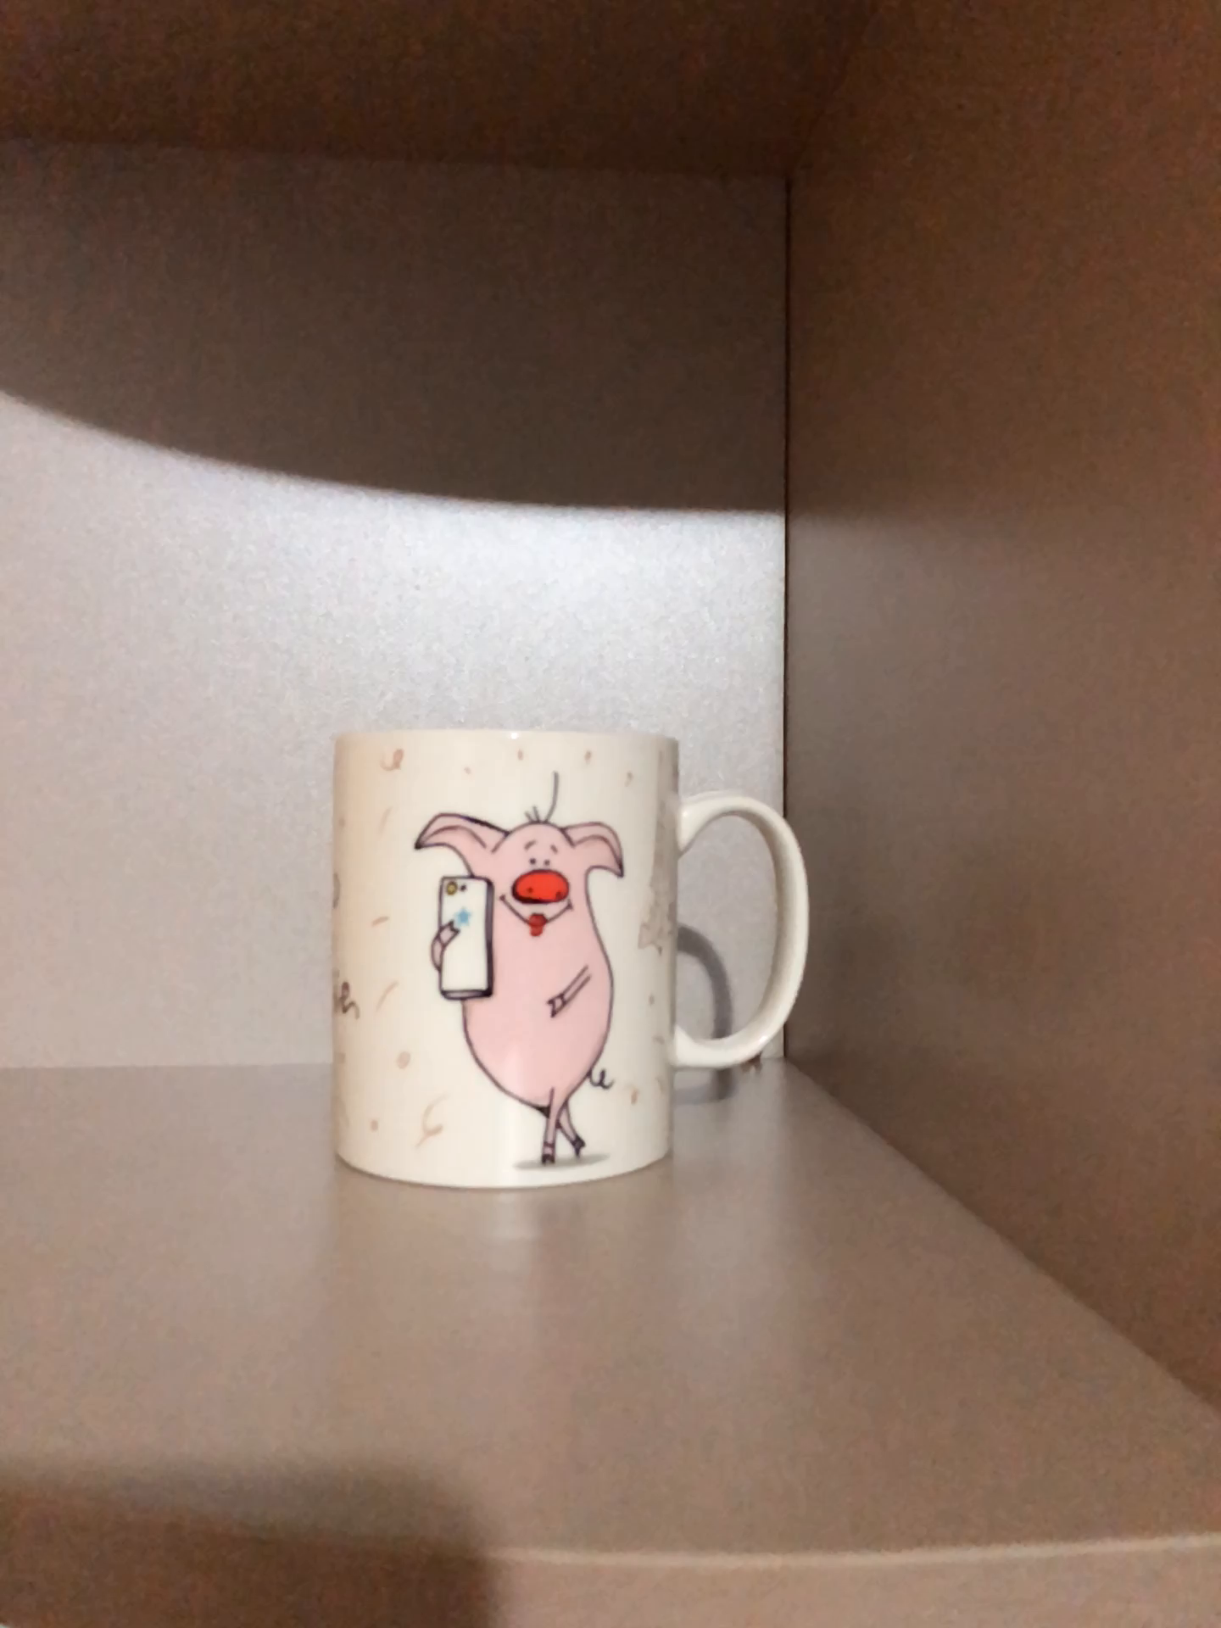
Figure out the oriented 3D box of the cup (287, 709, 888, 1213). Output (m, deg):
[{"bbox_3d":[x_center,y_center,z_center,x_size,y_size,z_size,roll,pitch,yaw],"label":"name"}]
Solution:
[{"bbox_3d":[-0.008,0.028,0.321,0.118,0.096,0.086,0,-1,-25],"label":"cup"}]
